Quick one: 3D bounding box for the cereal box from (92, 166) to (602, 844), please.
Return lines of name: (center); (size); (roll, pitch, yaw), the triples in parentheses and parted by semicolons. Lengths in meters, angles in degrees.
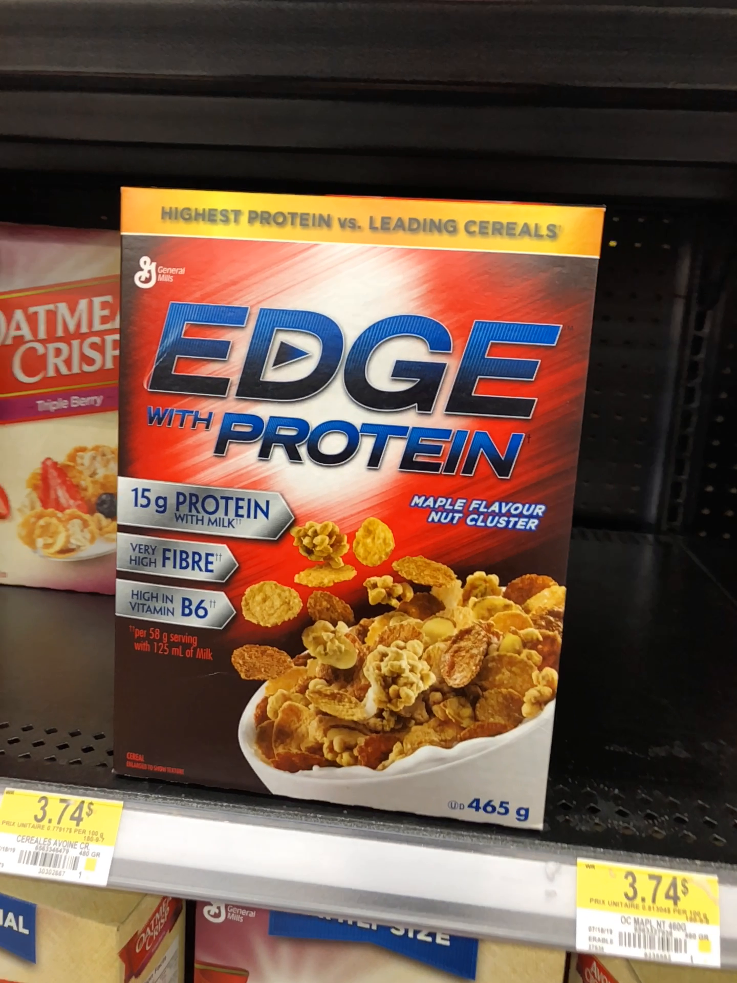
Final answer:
cereal box: (-0.016, 0.004, 0.369); (0.200, 0.269, 0.060); (5, 9, 8)
